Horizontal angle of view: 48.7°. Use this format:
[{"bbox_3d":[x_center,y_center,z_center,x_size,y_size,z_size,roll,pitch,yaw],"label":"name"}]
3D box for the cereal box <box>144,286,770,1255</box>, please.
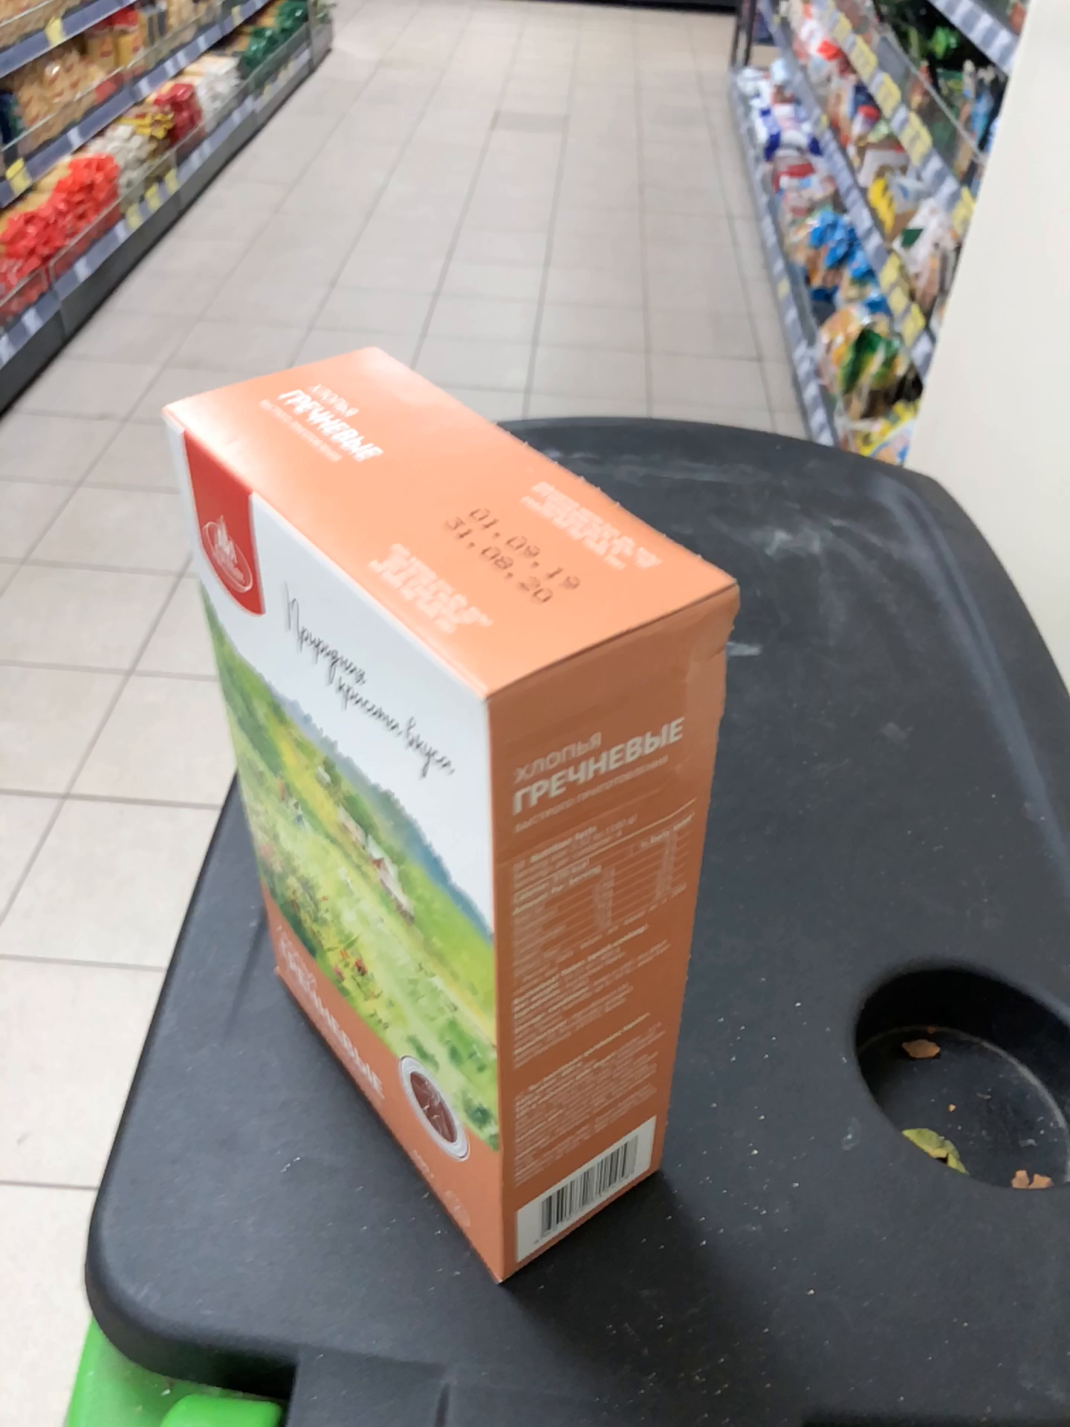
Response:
[{"bbox_3d":[-0.024,0.019,0.311,0.060,0.209,0.140,-26,47,-27],"label":"cereal box"}]
